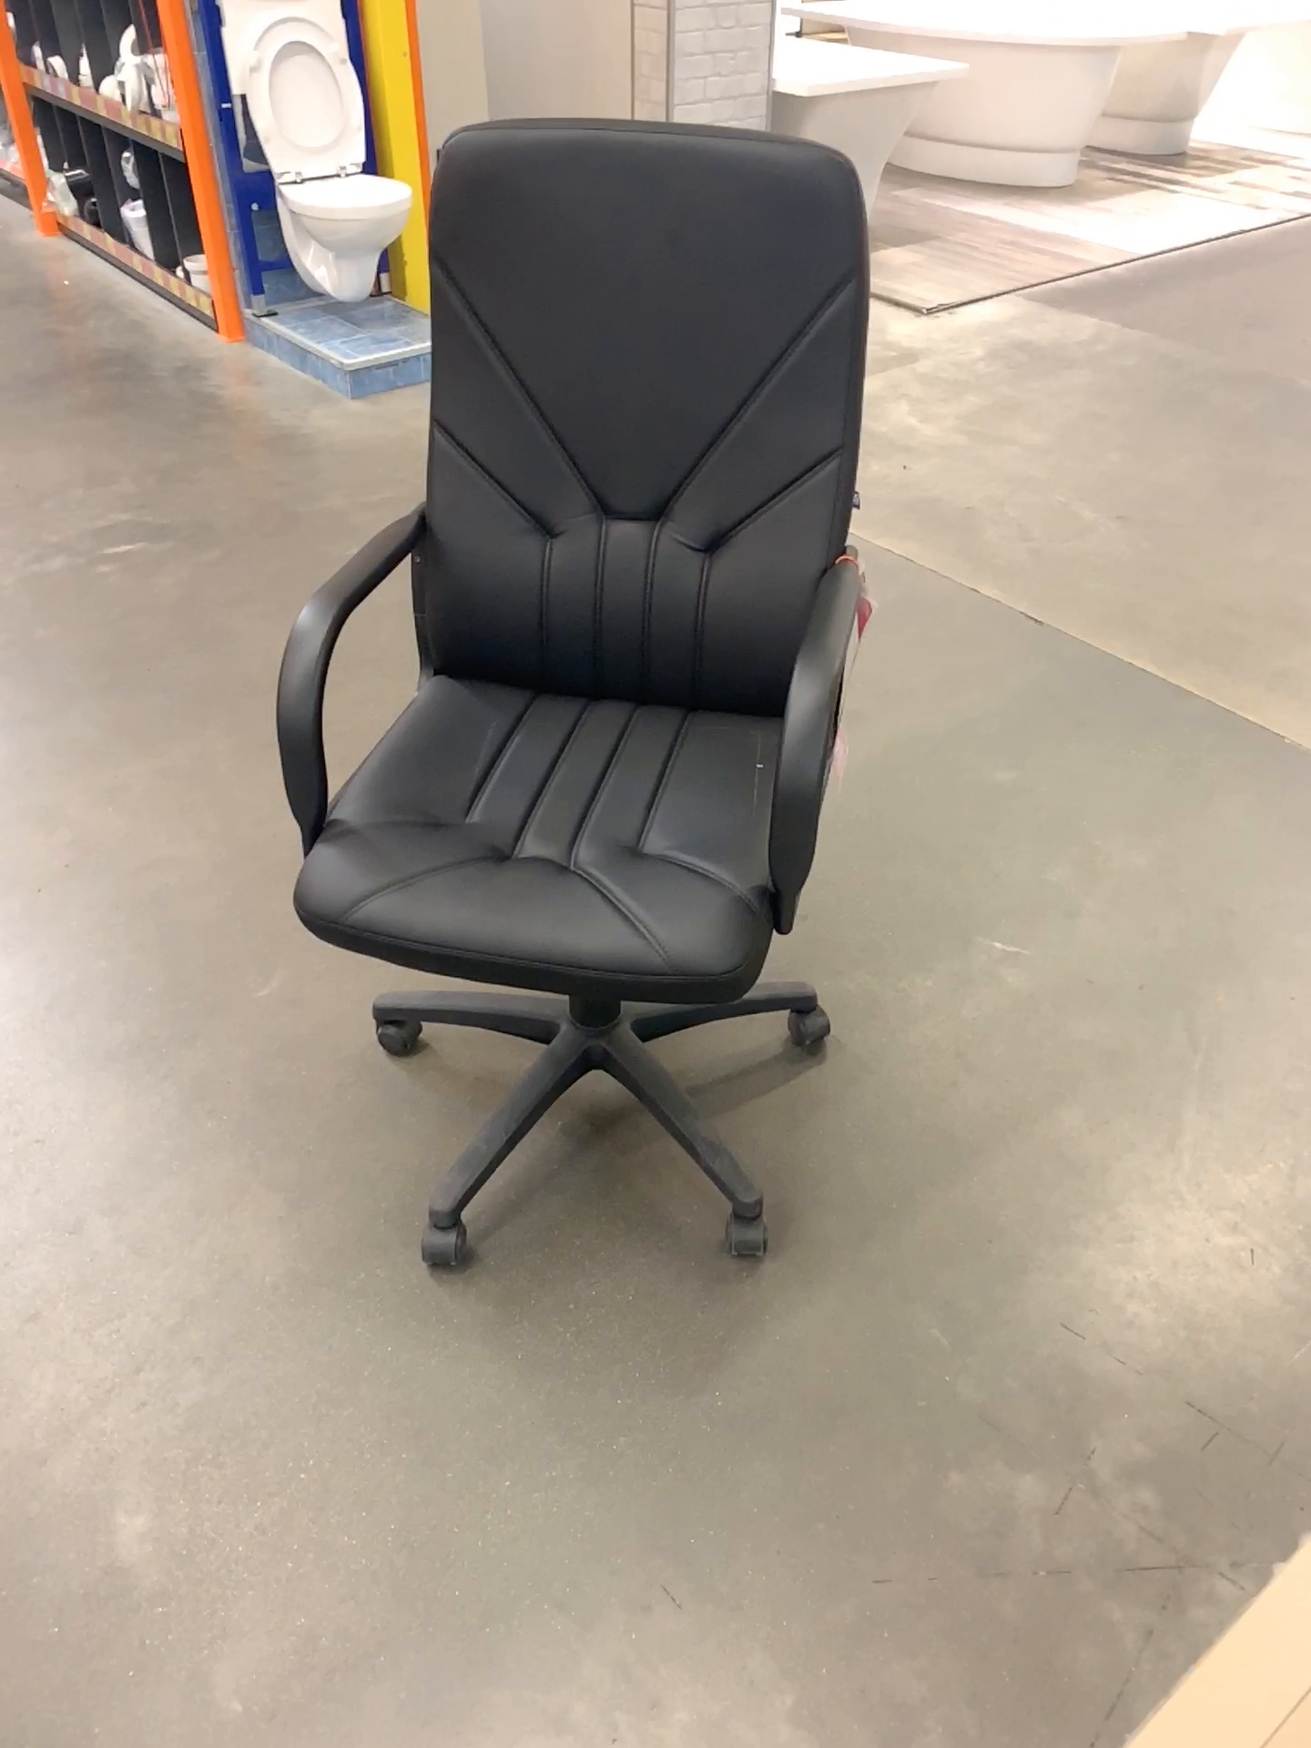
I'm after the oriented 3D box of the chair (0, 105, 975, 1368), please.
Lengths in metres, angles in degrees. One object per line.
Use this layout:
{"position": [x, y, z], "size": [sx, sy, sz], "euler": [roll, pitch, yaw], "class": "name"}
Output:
{"position": [-0.080, -0.177, 1.514], "size": [0.670, 1.085, 0.814], "euler": [9, 38, 11], "class": "chair"}
